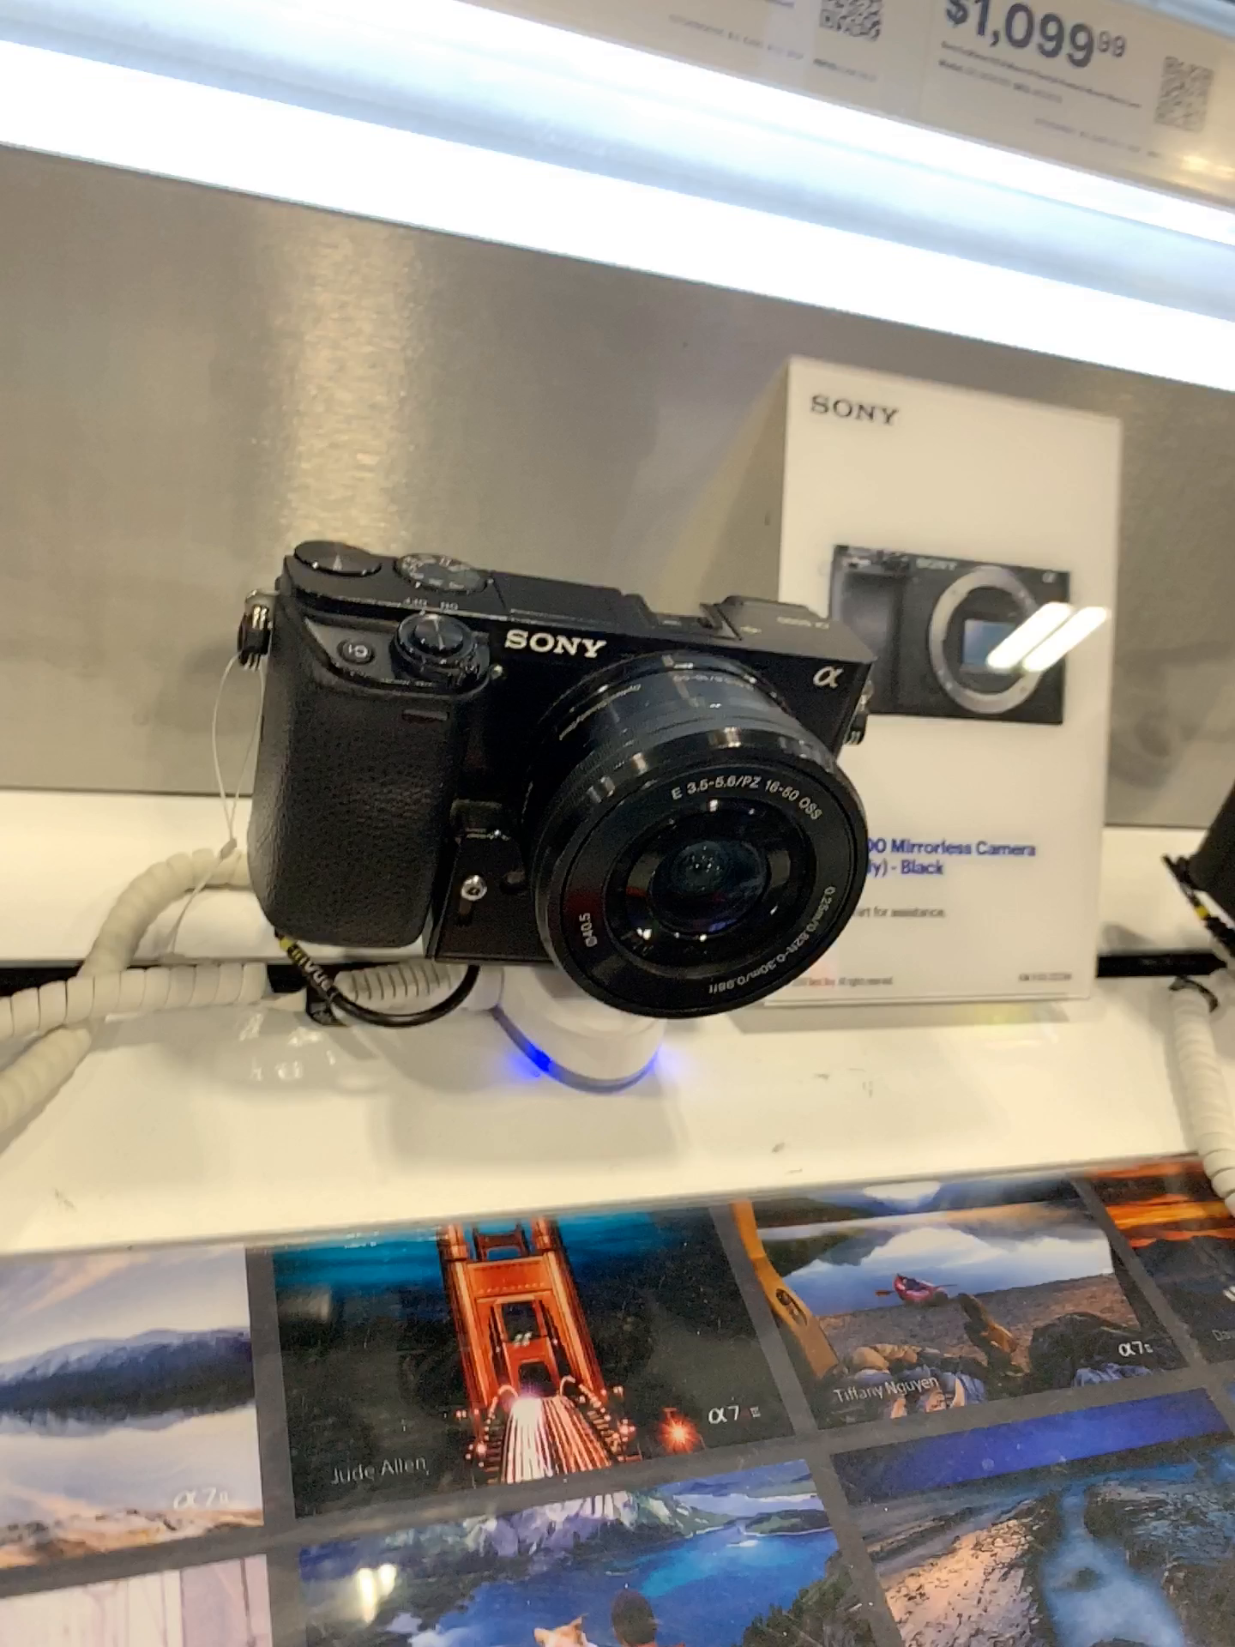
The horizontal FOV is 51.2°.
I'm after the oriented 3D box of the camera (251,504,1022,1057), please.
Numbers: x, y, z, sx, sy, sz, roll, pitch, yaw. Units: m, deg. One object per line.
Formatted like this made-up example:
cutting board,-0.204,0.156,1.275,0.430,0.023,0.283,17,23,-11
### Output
camera,-0.003,-0.006,0.245,0.120,0.074,0.066,3,29,-20
